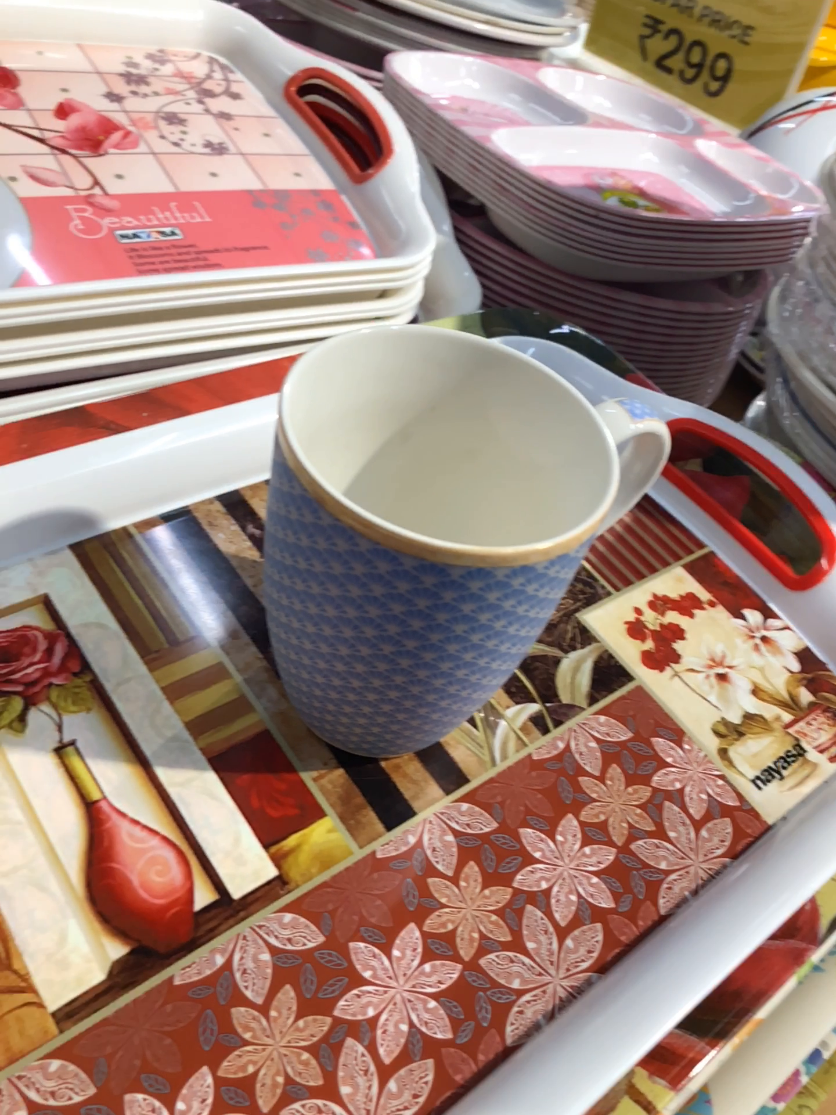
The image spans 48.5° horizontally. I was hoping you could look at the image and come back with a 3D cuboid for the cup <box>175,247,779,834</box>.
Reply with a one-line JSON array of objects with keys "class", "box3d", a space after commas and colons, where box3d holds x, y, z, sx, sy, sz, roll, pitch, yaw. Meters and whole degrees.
[{"class": "cup", "box3d": [0.011, -0.011, 0.251, 0.121, 0.099, 0.080, -23, 55, -36]}]
